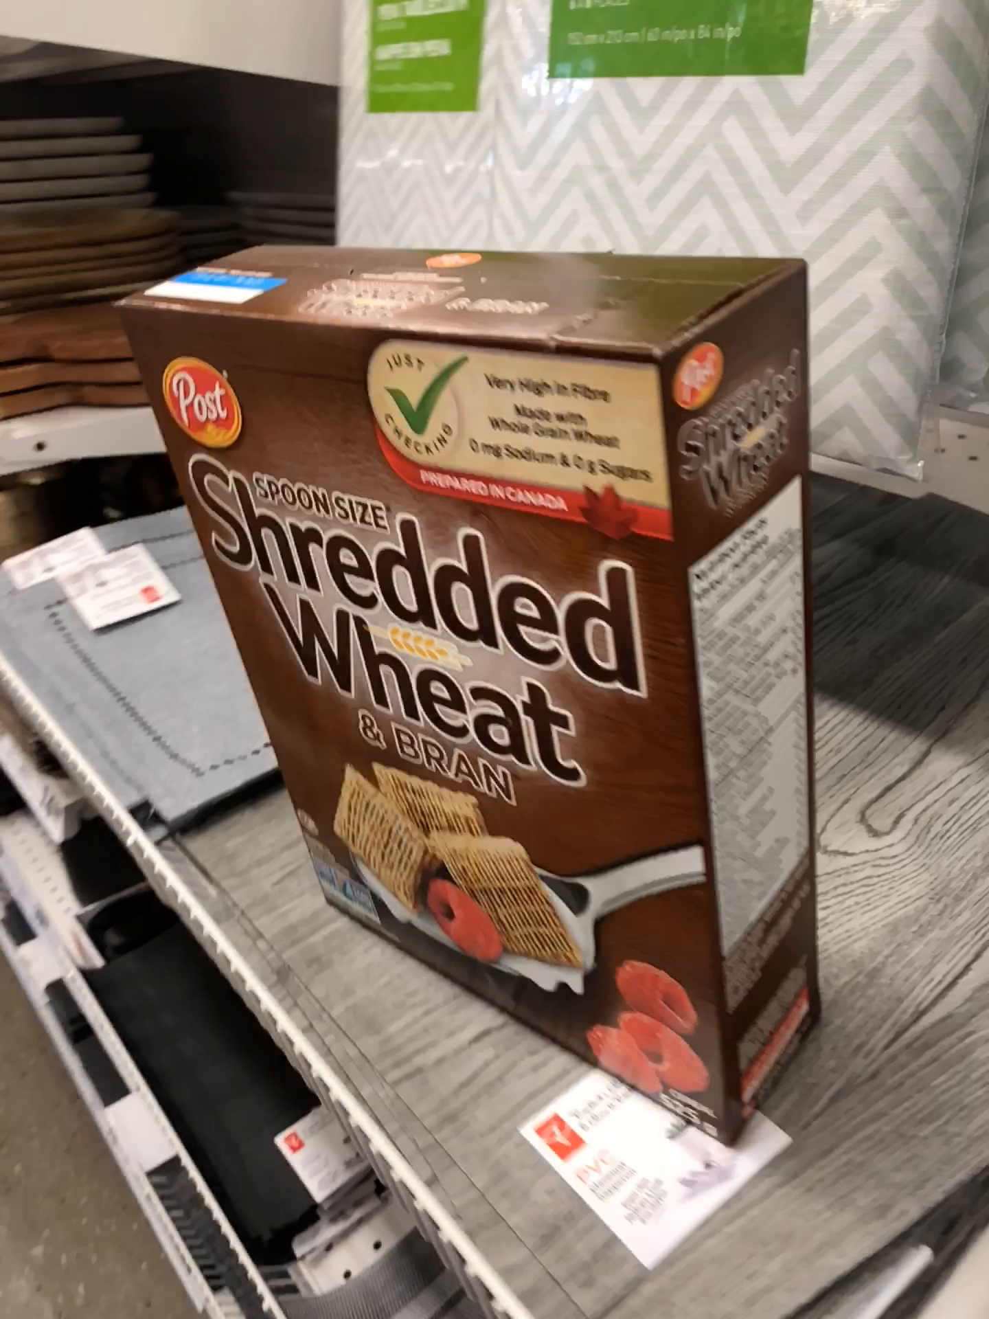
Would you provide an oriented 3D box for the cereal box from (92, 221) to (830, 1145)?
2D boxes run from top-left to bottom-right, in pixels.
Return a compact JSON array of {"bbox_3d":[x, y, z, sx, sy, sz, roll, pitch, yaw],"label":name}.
[{"bbox_3d":[-0.001,0.003,0.359,0.201,0.259,0.070,19,44,38],"label":"cereal box"}]
